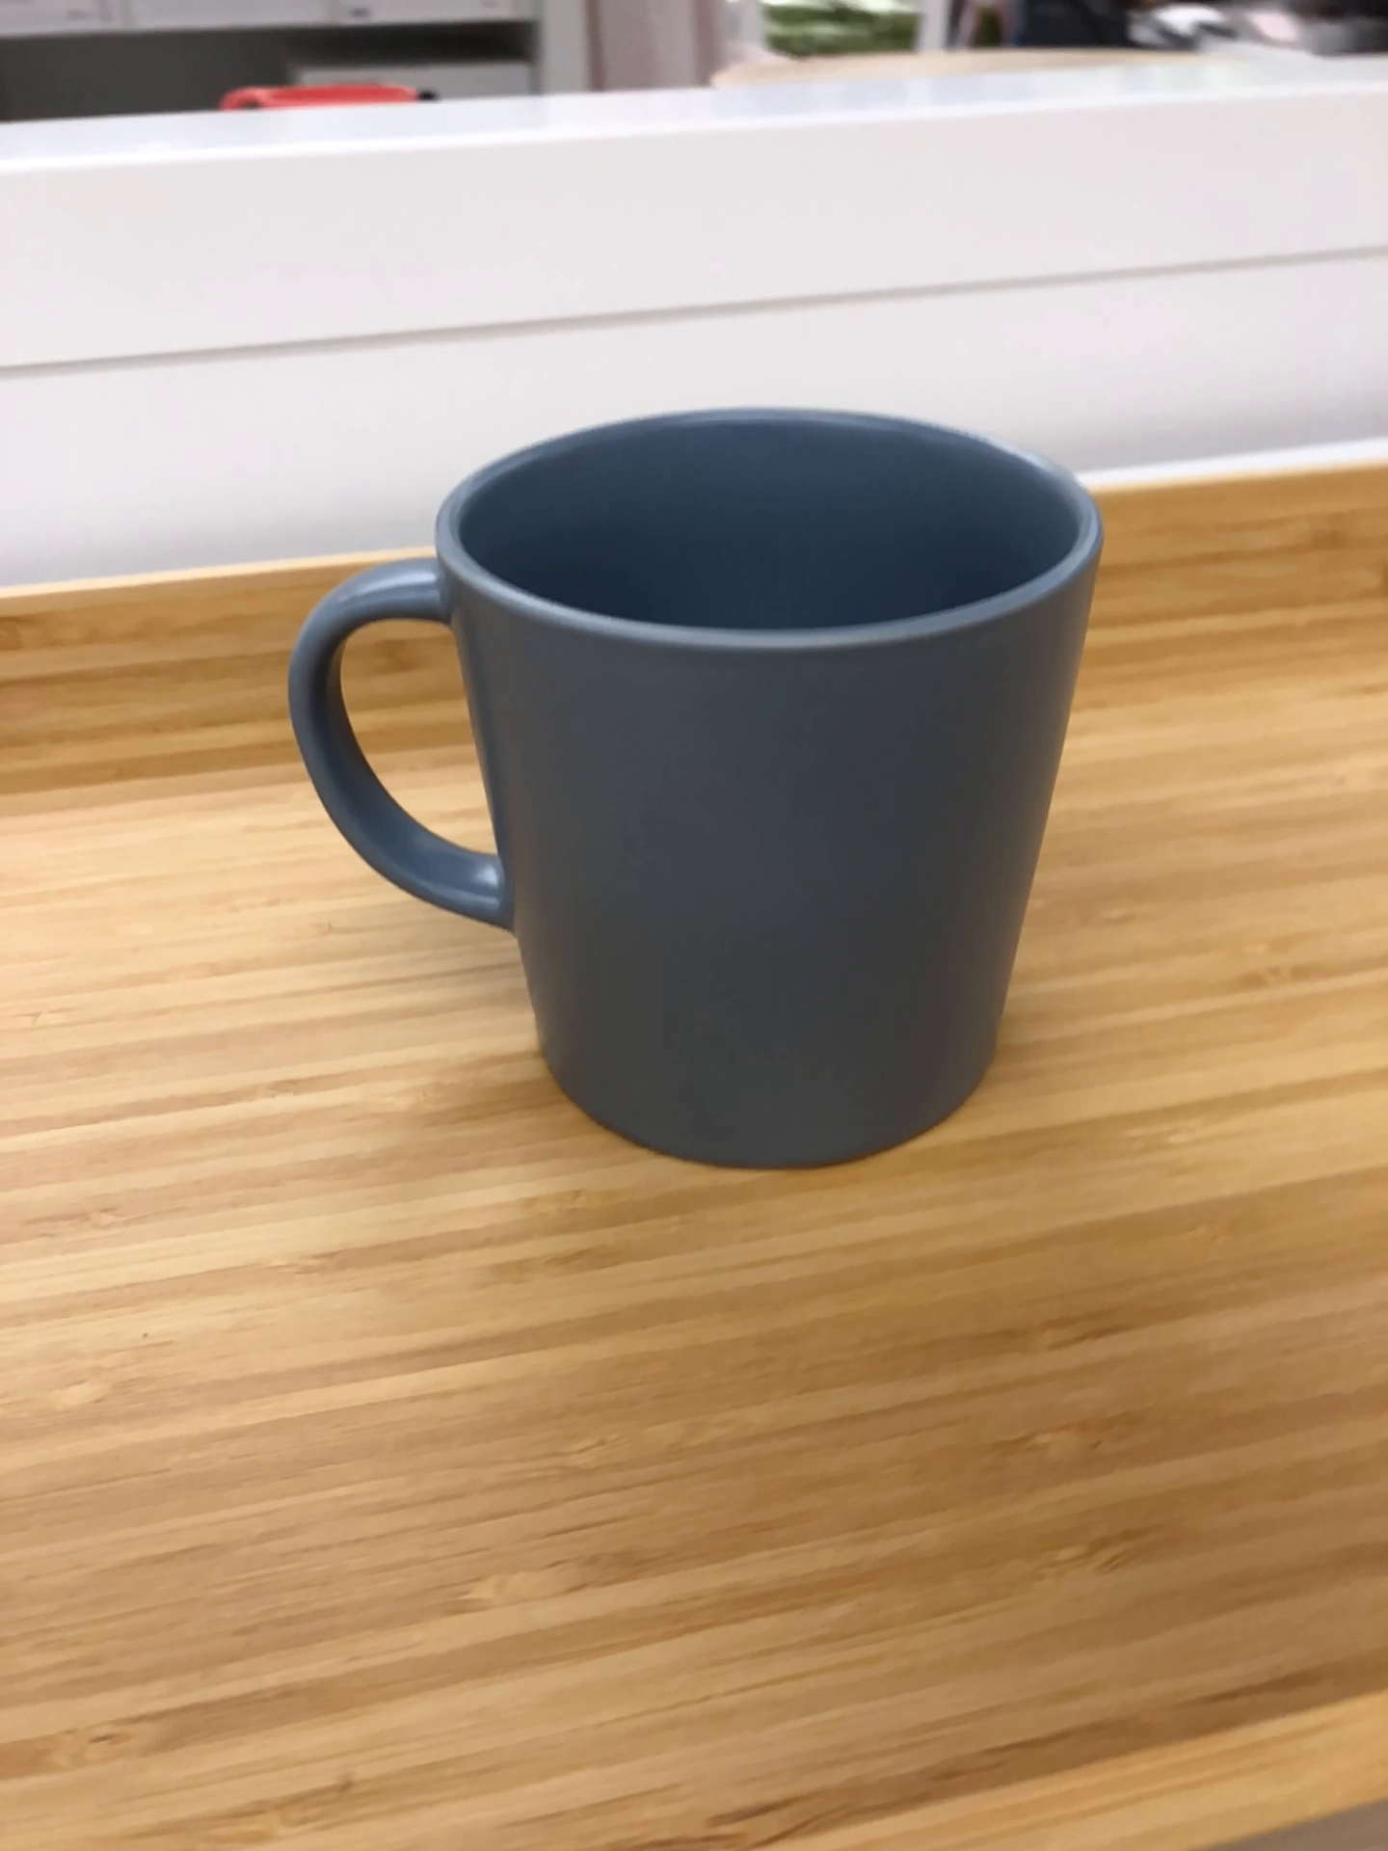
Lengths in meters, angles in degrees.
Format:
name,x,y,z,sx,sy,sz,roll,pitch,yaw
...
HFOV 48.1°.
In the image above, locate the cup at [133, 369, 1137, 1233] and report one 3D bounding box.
name,x,y,z,sx,sy,sz,roll,pitch,yaw
cup,-0.001,-0.026,0.242,0.120,0.090,0.090,7,34,10
